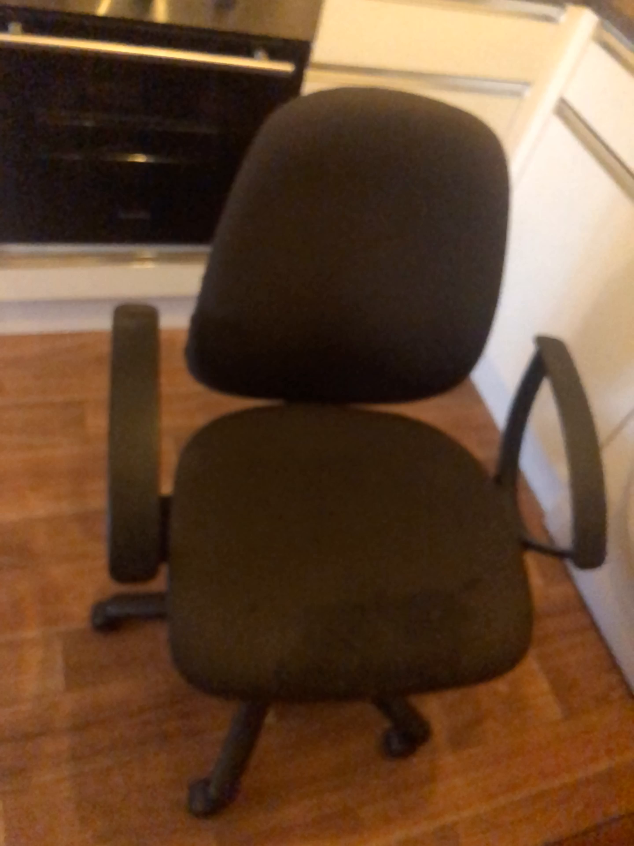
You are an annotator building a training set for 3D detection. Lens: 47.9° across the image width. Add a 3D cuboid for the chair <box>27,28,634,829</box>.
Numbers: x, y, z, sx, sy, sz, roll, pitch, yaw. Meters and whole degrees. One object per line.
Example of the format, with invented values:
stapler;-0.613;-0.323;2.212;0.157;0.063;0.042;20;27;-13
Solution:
chair;0.031;0.088;0.991;0.674;0.816;0.655;4;50;-15
